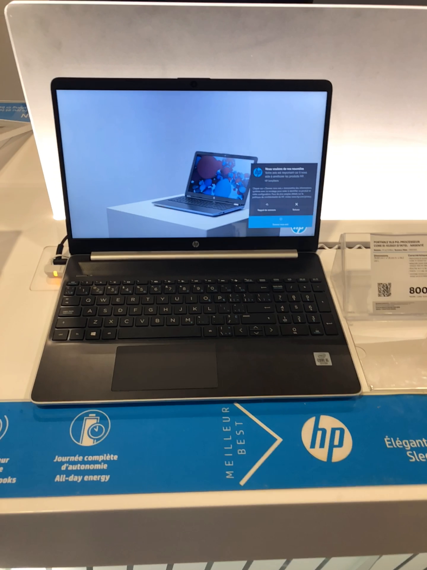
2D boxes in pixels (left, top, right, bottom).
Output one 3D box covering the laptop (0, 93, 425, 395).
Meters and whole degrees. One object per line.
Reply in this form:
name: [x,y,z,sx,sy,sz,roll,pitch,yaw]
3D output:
laptop: [-0.016,-0.064,0.541,0.336,0.206,0.317,0,41,-2]
